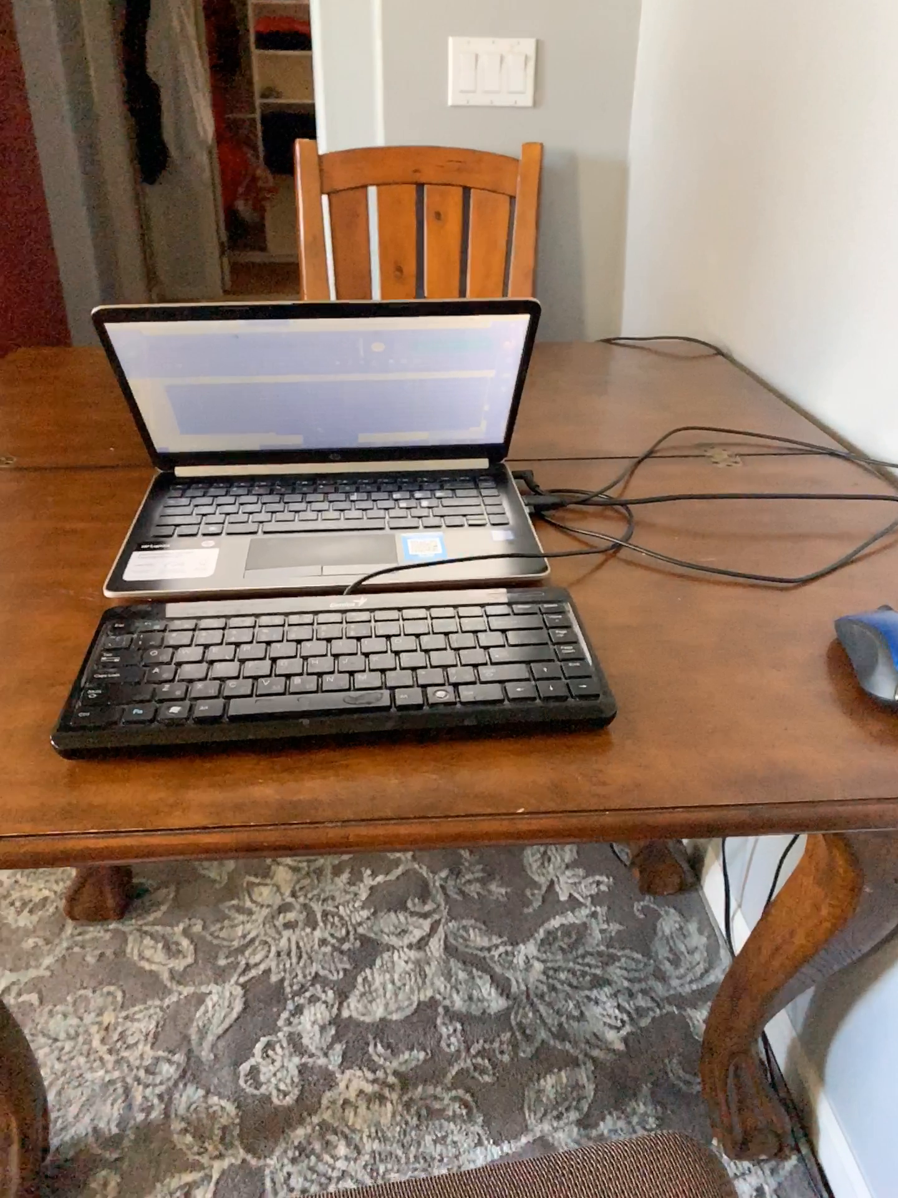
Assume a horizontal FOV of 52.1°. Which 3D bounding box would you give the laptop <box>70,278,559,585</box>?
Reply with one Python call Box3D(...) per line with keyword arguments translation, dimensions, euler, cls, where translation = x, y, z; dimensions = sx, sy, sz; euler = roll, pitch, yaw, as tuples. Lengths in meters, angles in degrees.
Box3D(translation=(-0.089, -0.137, 0.694), dimensions=(0.302, 0.157, 0.200), euler=(-2, 30, -4), cls="laptop")
